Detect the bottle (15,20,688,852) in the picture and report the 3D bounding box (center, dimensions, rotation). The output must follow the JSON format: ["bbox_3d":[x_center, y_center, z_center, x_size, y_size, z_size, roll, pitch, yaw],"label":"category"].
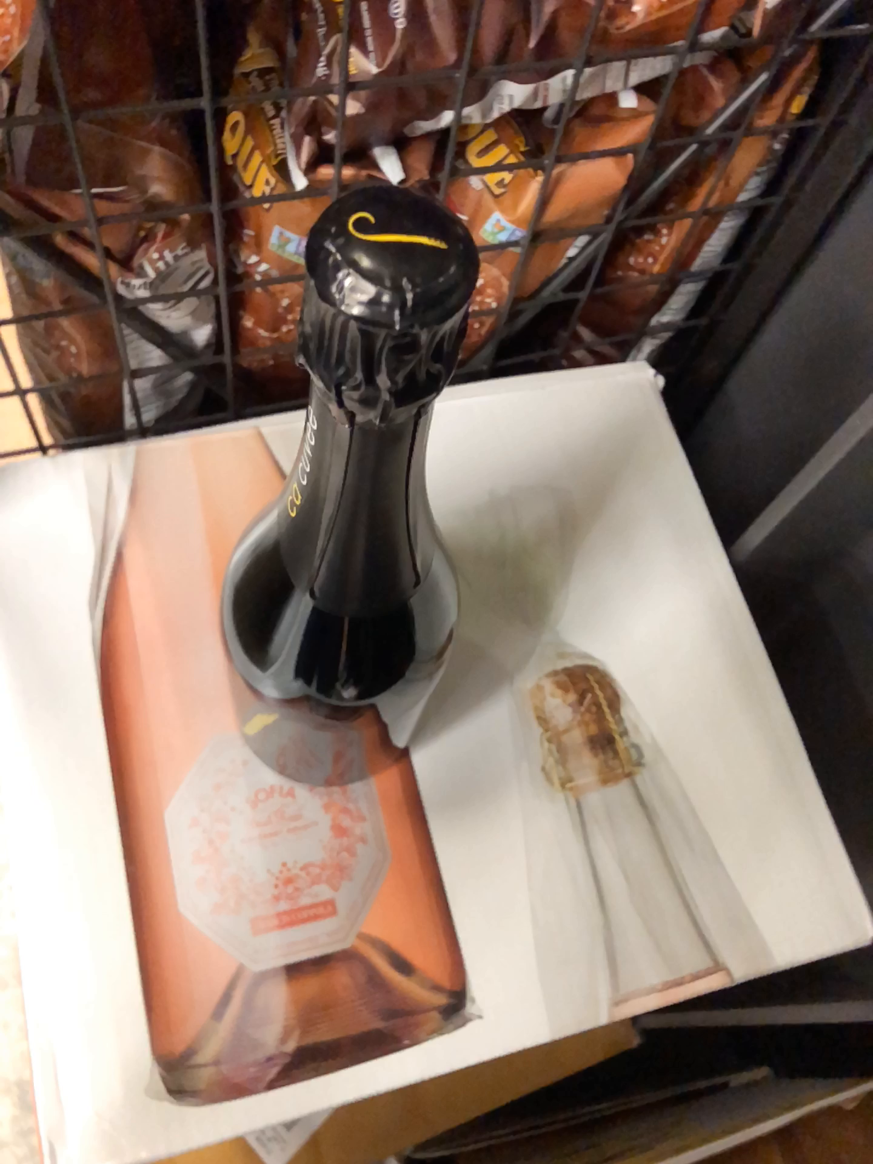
[{"bbox_3d":[-0.036,-0.003,0.307,0.090,0.290,0.090,4,64,-8],"label":"bottle"}]
